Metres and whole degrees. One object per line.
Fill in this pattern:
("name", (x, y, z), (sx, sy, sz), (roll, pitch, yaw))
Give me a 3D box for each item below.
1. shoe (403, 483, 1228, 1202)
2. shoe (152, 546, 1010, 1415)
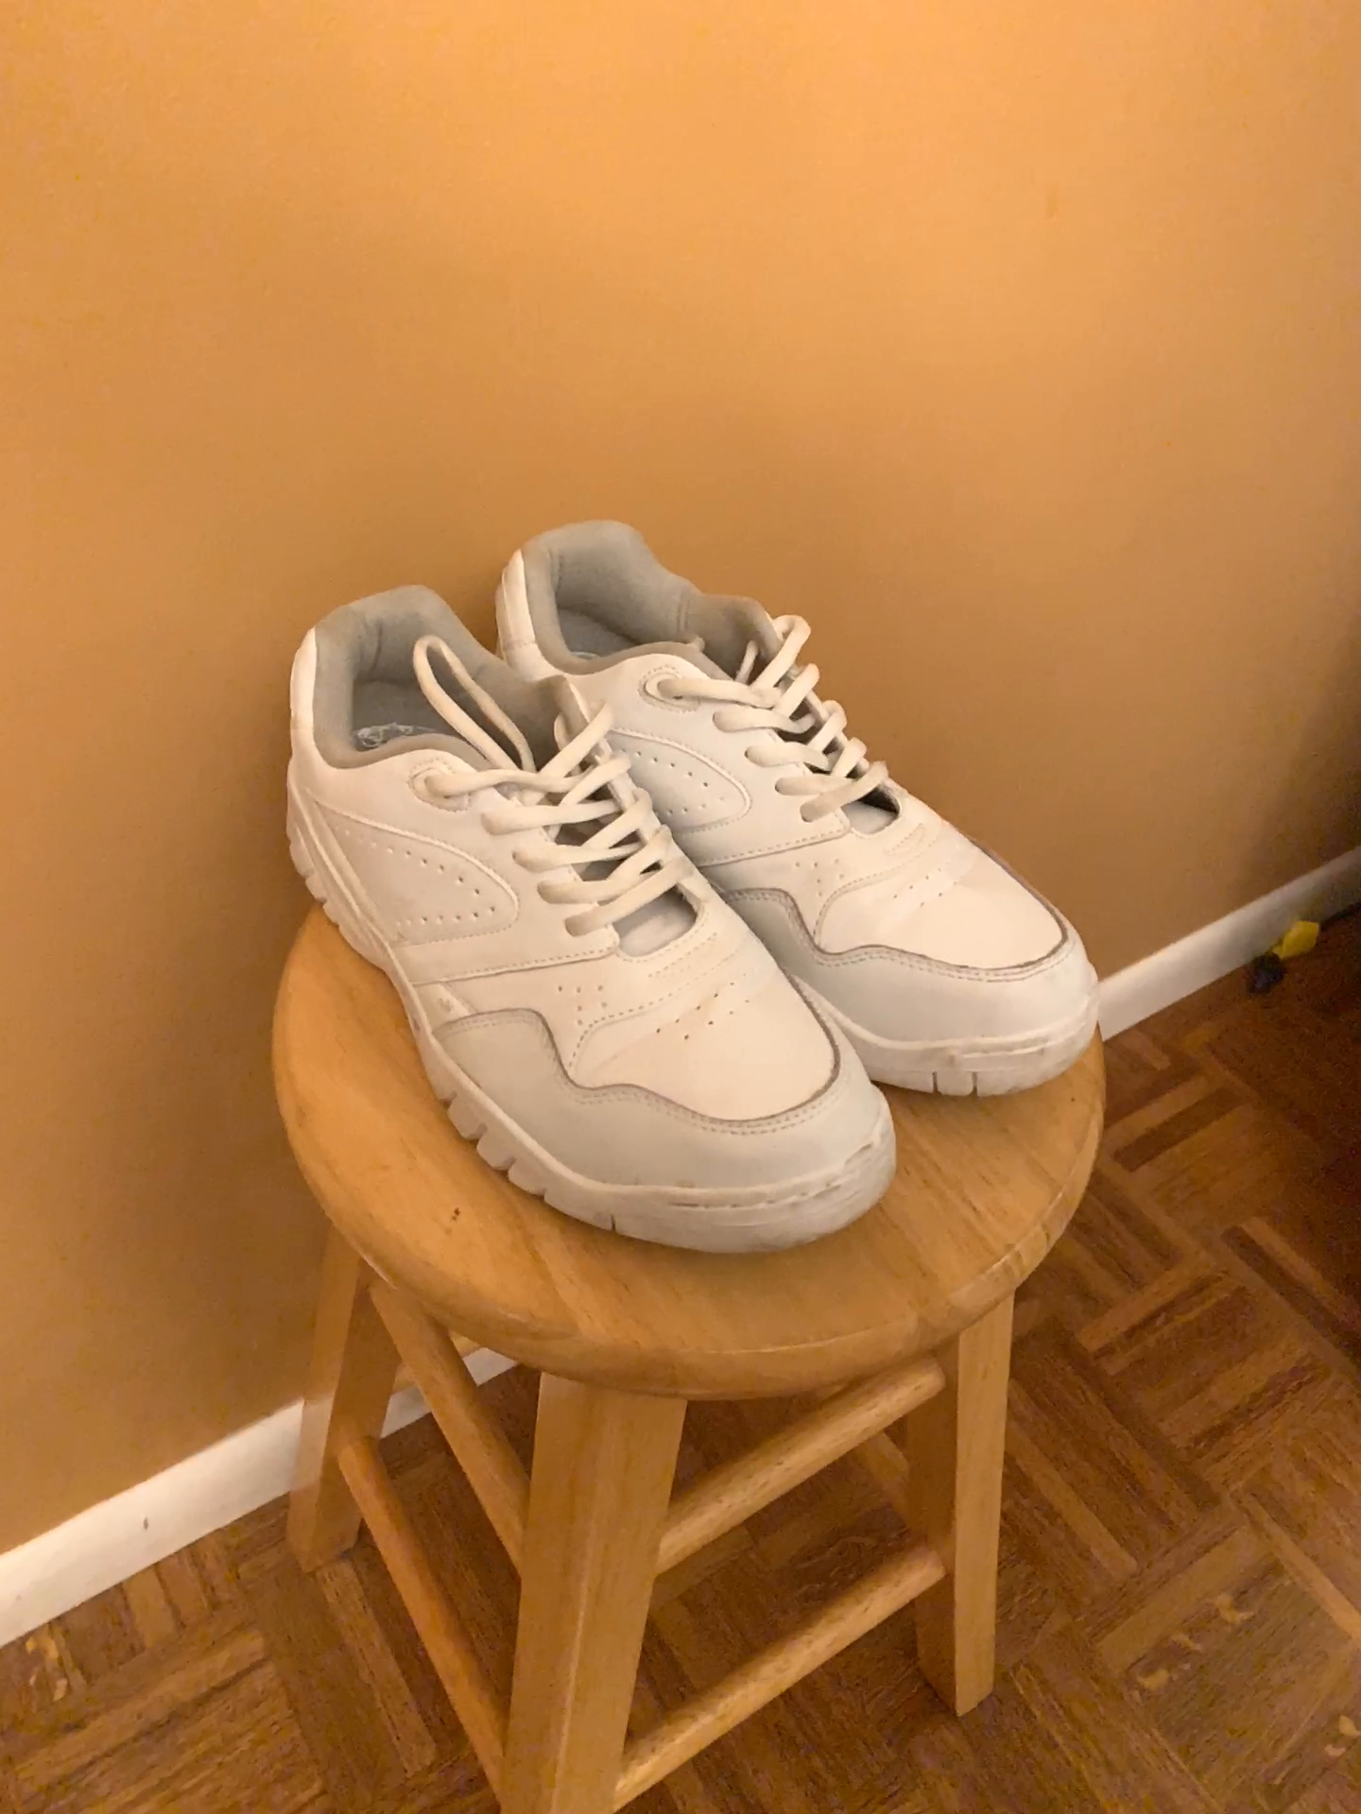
("shoe", (0.034, -0.040, 0.516), (0.271, 0.109, 0.120), (35, 50, 29))
("shoe", (-0.047, 0.003, 0.465), (0.130, 0.109, 0.271), (-26, 51, -29))
